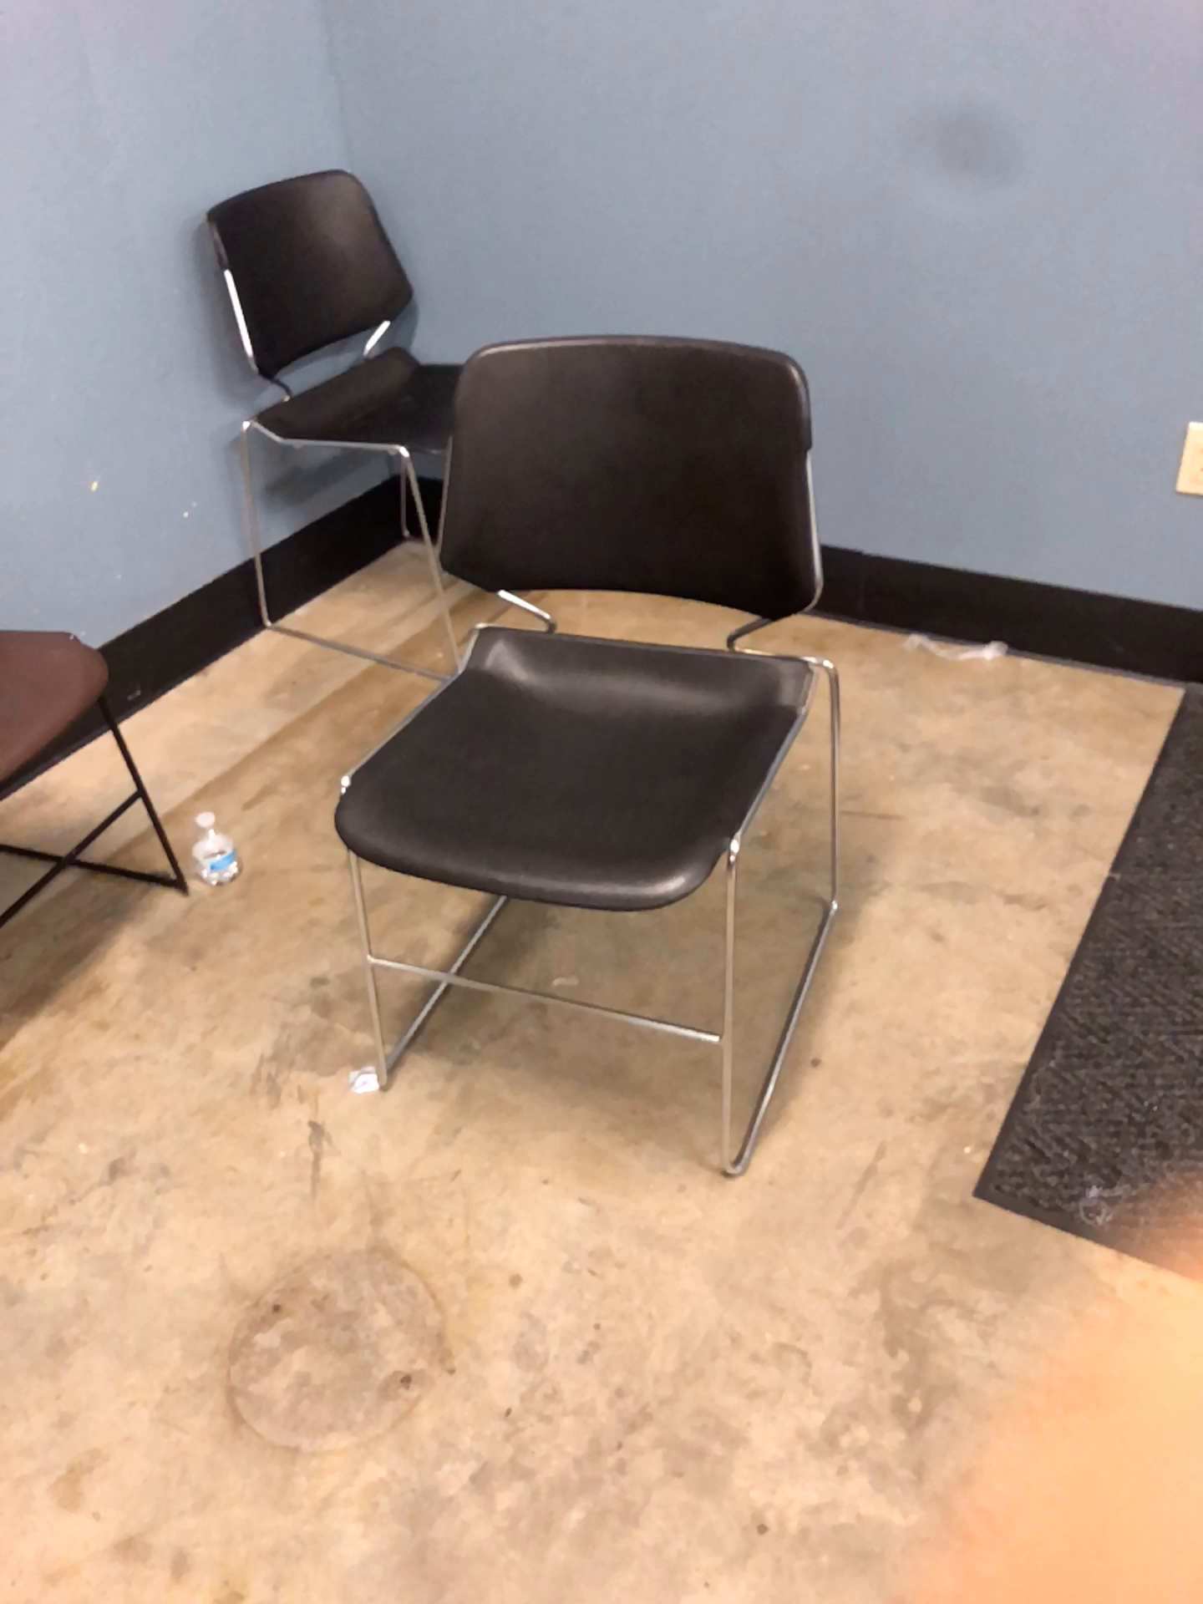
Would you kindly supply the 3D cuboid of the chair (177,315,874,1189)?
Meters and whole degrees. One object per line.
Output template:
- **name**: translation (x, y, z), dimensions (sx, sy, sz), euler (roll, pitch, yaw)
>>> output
- **chair**: translation (-0.015, -0.082, 1.569), dimensions (0.532, 0.799, 0.546), euler (9, 37, 20)

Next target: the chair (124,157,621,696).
- **chair**: translation (-0.388, -0.739, 2.544), dimensions (0.596, 0.799, 0.552), euler (16, 40, 28)
